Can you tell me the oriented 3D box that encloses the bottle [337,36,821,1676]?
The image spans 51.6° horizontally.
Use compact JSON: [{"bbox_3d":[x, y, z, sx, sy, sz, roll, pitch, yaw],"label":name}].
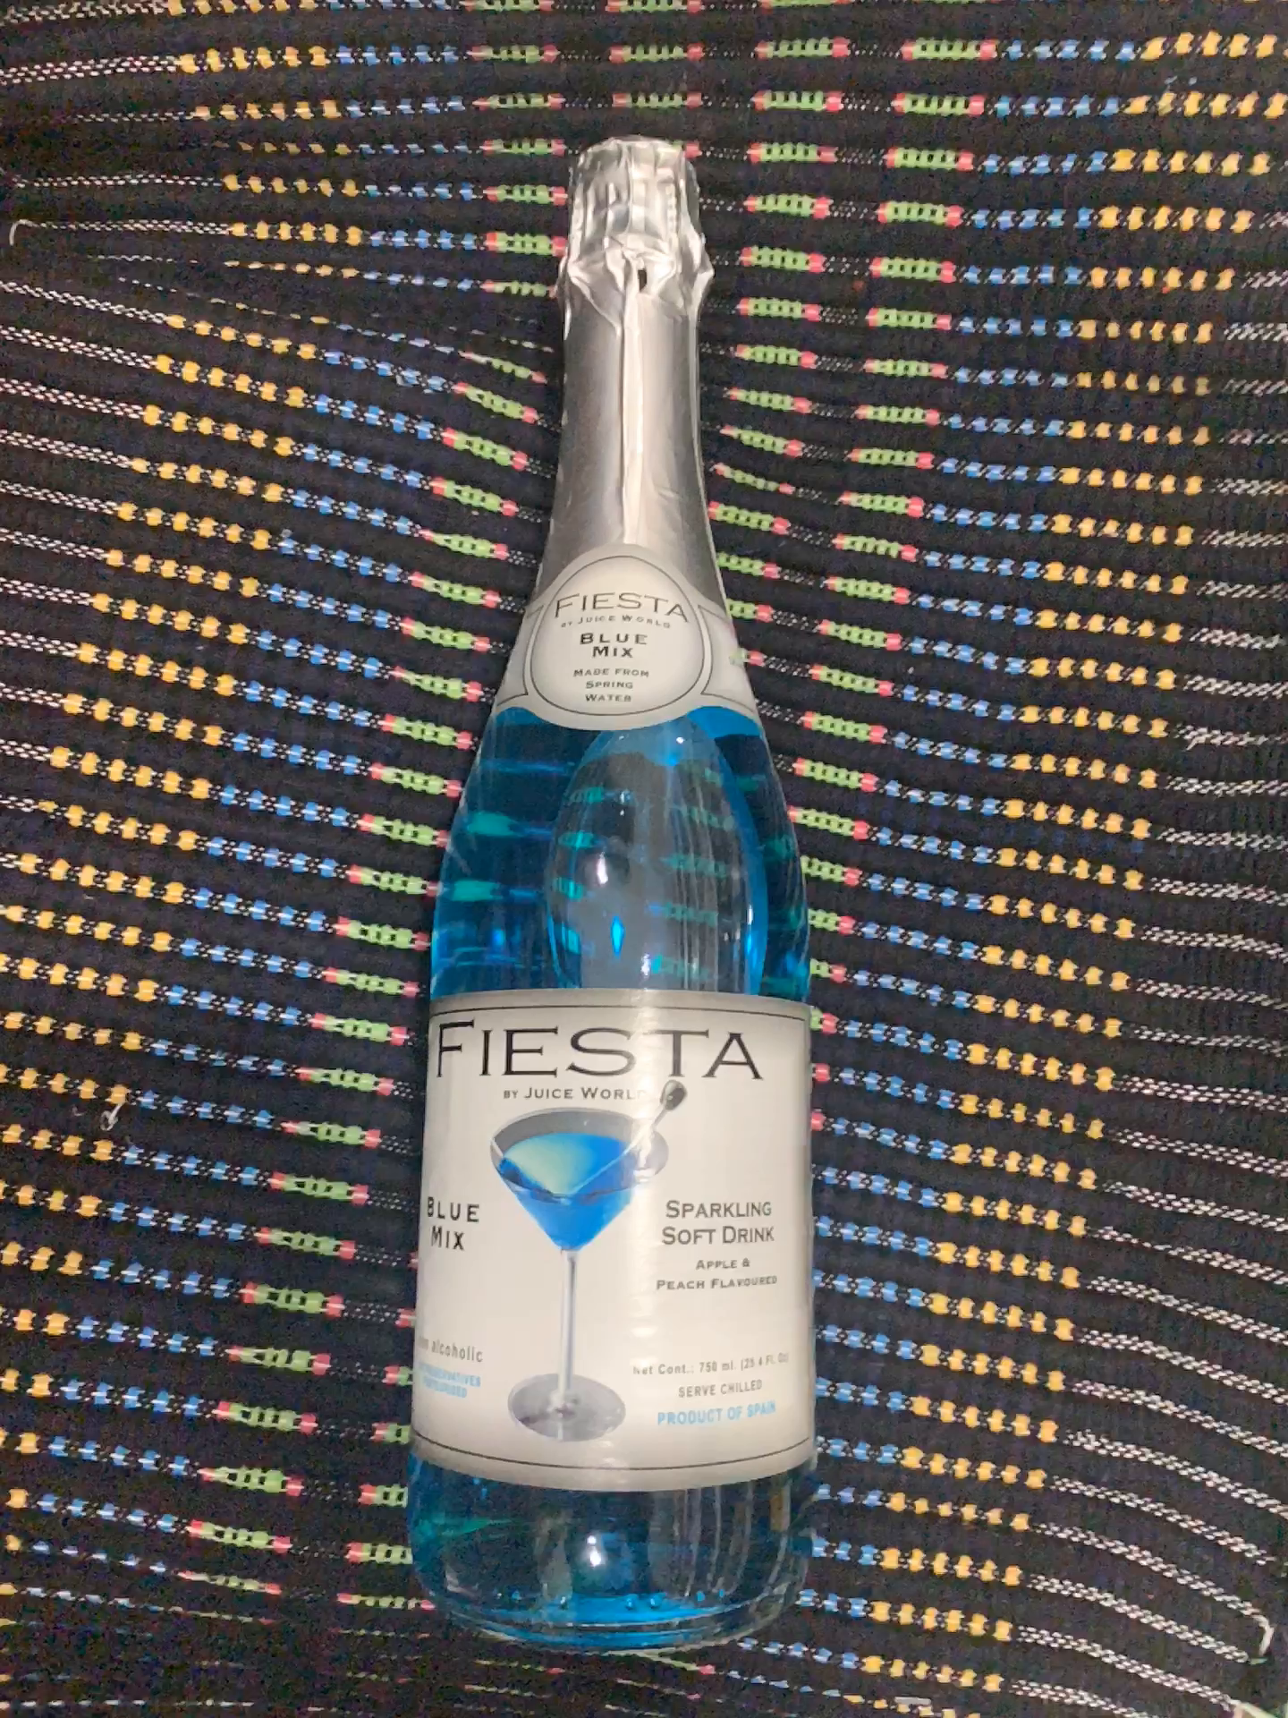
[{"bbox_3d":[-0.003,-0.010,0.299,0.080,0.100,0.310,-1,78,7],"label":"bottle"}]
